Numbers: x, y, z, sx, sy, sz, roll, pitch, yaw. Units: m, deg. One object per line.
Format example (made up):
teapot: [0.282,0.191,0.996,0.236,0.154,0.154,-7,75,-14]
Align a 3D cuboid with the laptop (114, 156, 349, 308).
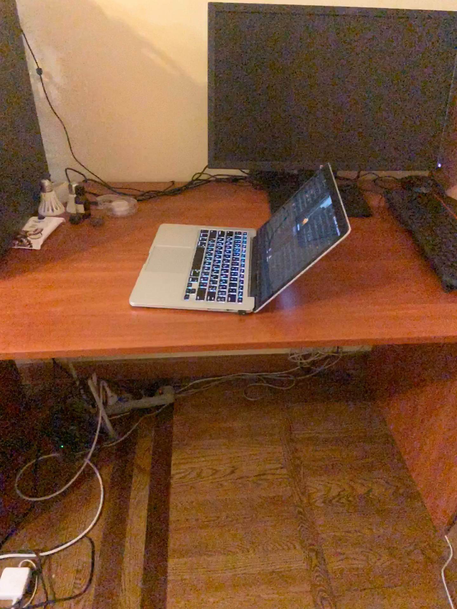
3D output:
laptop: [0.012,-0.140,0.808,0.333,0.139,0.287,2,36,2]
